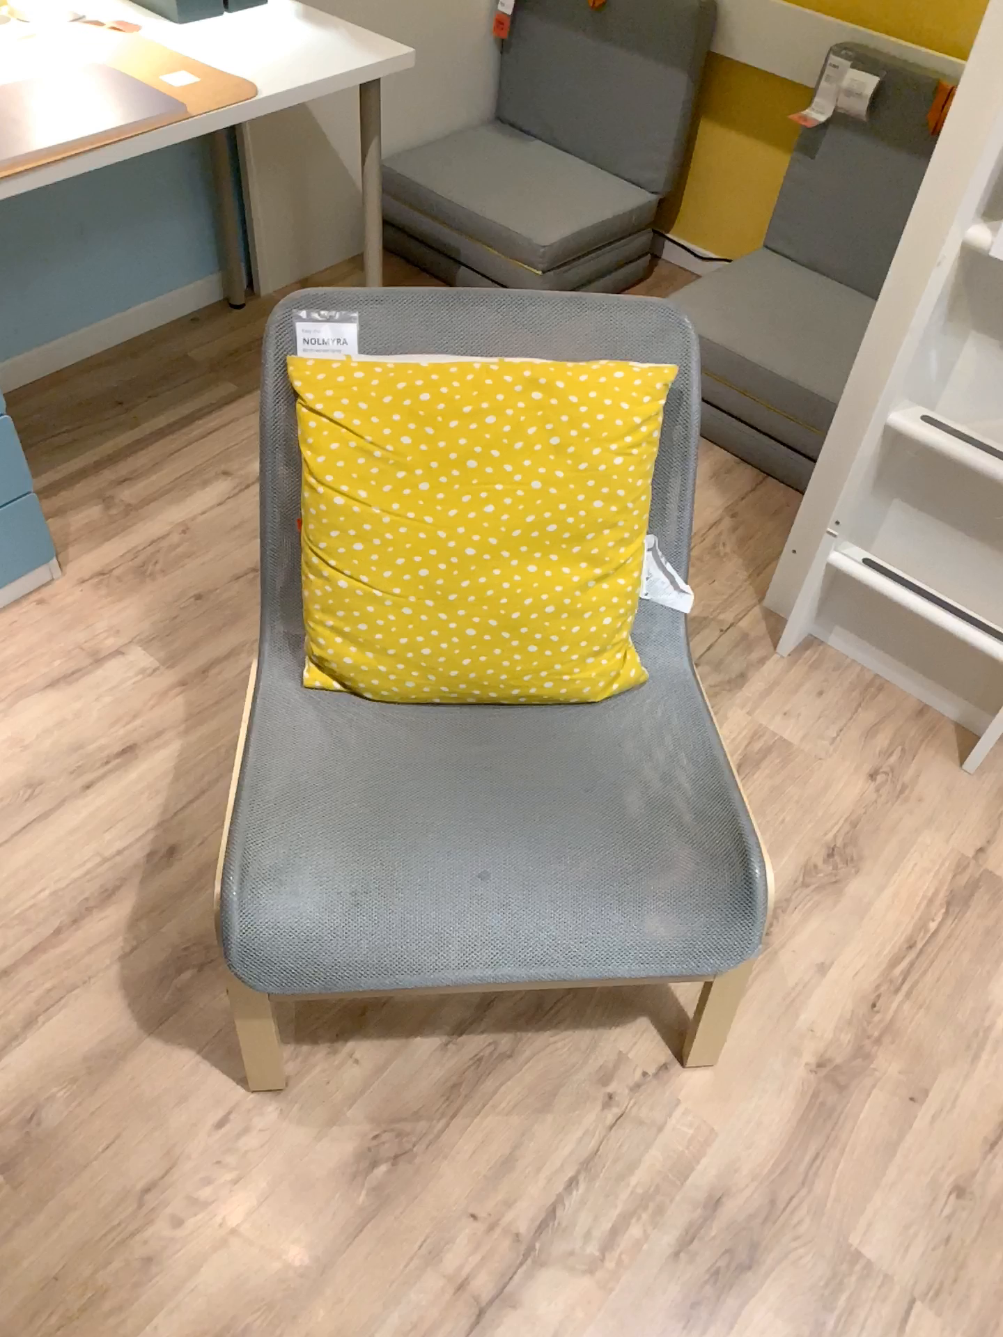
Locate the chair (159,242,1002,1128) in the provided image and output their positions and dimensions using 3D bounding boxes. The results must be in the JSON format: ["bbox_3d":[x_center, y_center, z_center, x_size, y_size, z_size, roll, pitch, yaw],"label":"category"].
[{"bbox_3d":[0.041,0.027,1.156,0.630,0.708,0.672,0,47,-7],"label":"chair"}]
